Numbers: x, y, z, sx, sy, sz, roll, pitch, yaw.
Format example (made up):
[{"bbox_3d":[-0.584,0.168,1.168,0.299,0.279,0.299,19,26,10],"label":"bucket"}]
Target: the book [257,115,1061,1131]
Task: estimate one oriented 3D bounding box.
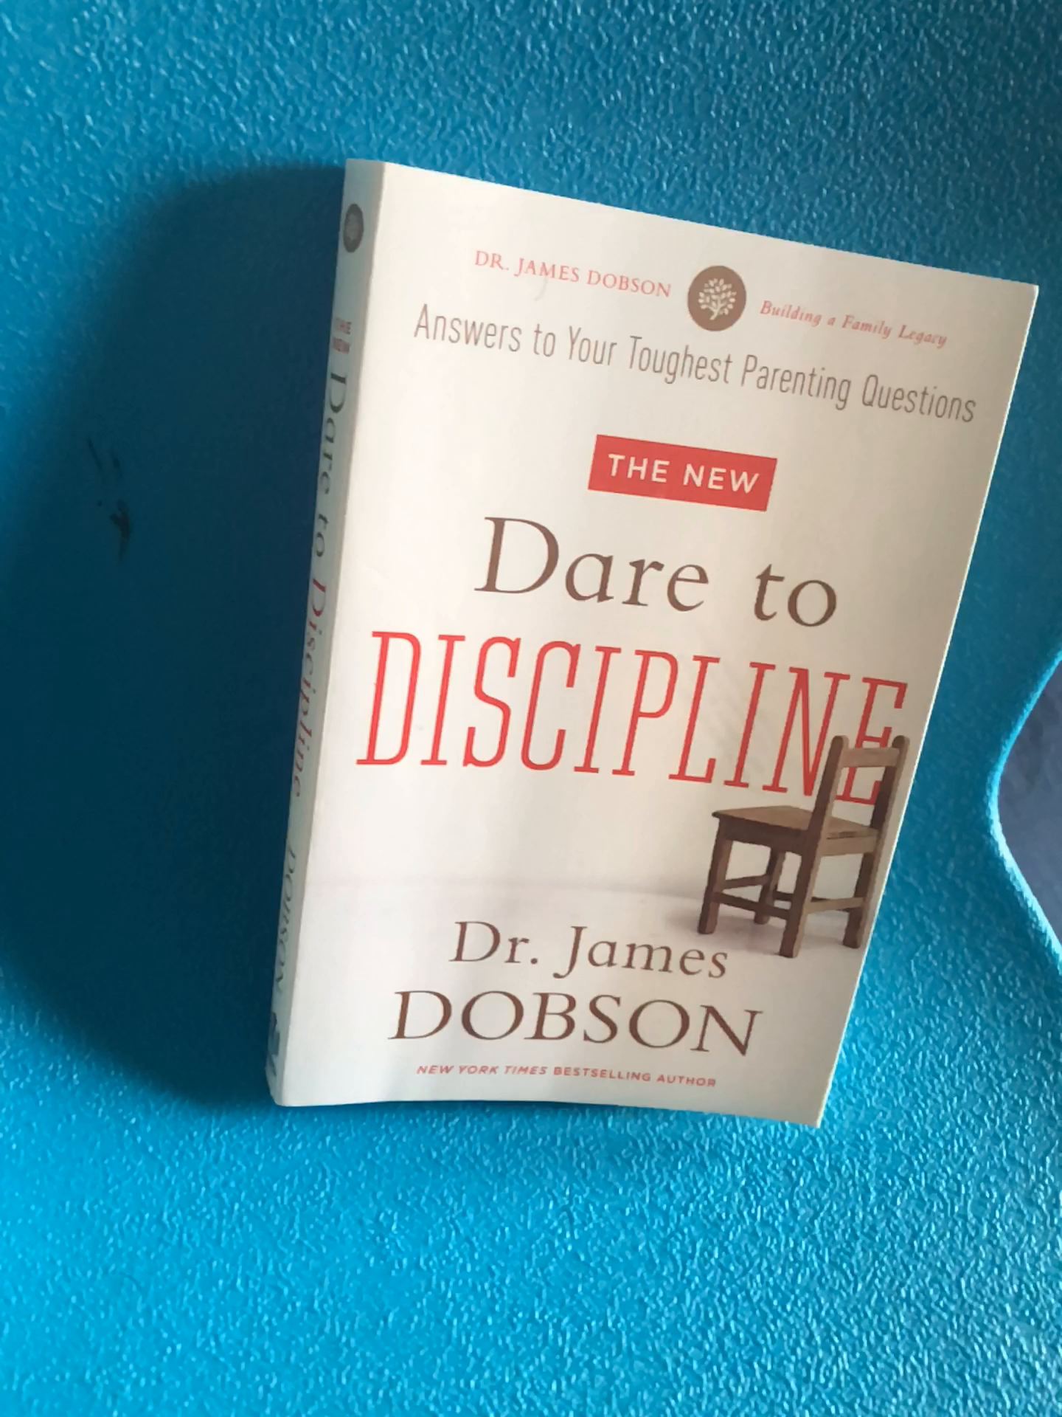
[{"bbox_3d":[0.025,-0.006,0.263,0.150,0.199,0.040,6,15,-11],"label":"book"}]
